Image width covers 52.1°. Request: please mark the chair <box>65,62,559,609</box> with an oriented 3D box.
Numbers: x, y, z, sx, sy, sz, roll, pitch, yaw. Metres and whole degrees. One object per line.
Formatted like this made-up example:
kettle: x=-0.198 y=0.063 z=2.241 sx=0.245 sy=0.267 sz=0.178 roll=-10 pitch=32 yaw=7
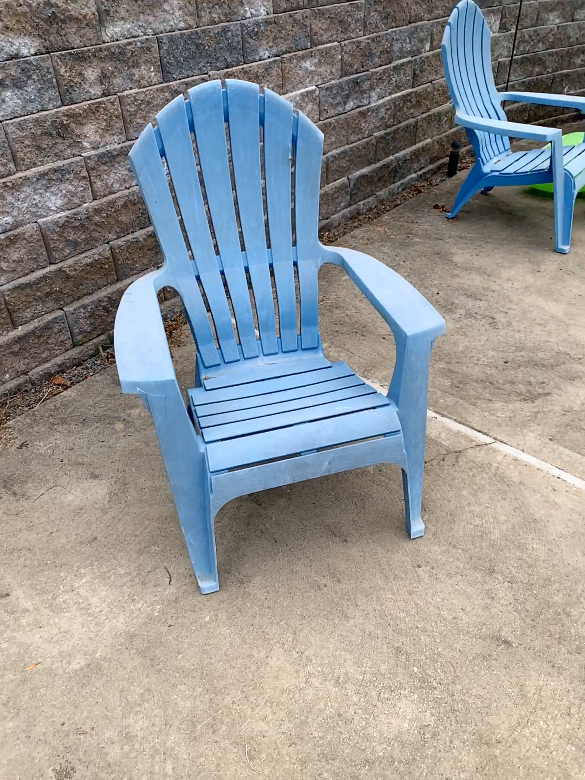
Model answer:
chair: x=-0.047 y=-0.163 z=1.374 sx=0.700 sy=0.885 sz=0.764 roll=-10 pitch=40 yaw=-12
